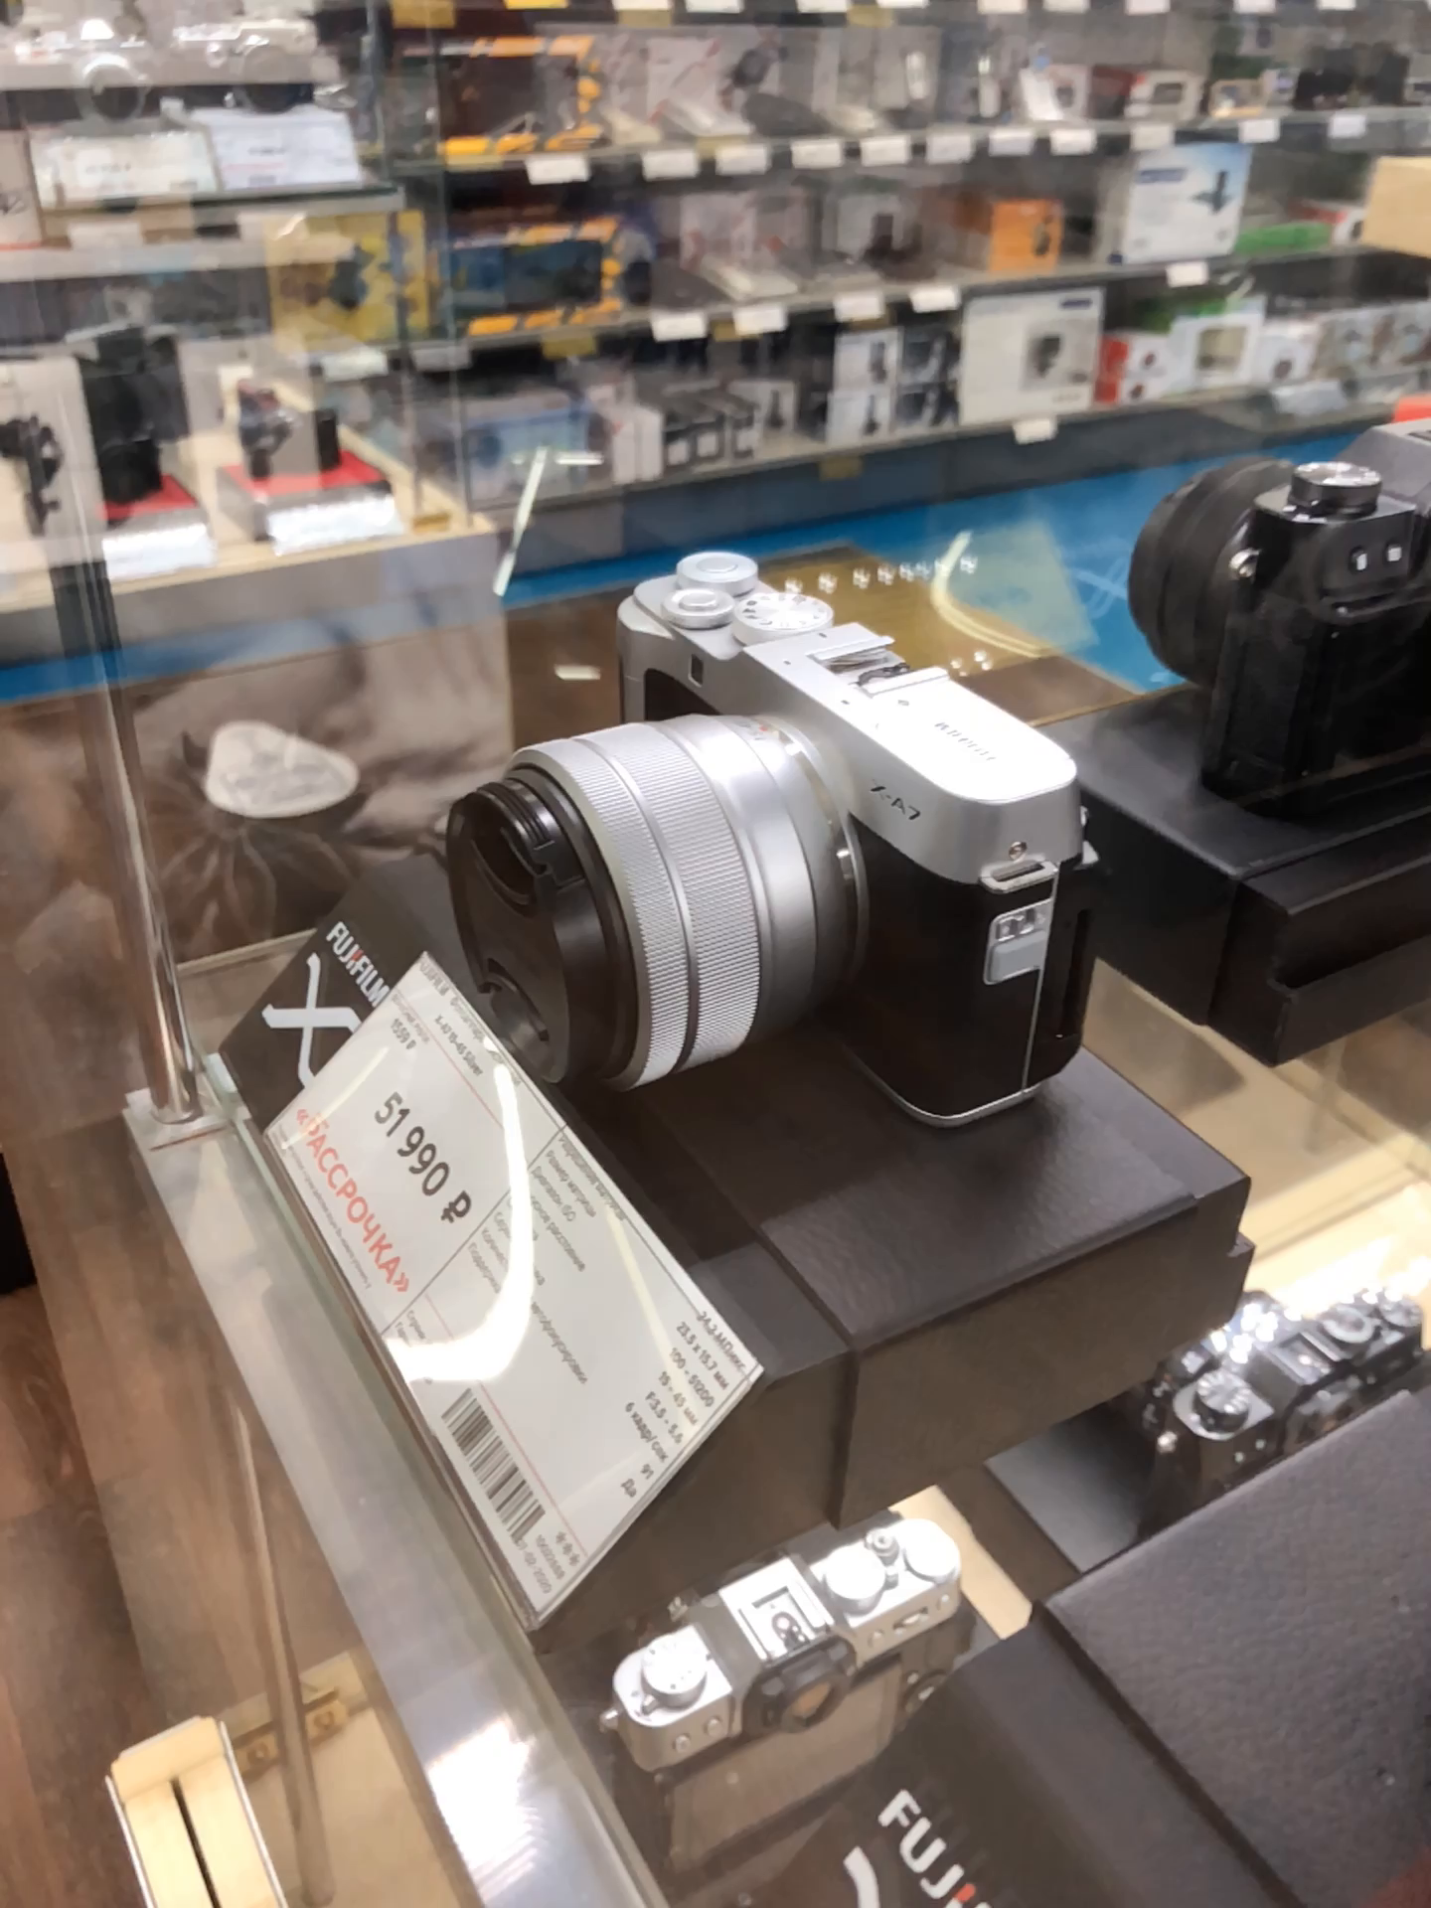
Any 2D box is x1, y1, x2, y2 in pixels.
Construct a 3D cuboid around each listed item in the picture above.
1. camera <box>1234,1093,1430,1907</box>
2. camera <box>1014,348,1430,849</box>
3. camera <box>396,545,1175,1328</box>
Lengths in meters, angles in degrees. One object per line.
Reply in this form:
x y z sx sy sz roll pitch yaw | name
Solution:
0.129 0.089 0.136 0.096 0.080 0.115 -16 37 -26 | camera
0.156 -0.096 0.401 0.115 0.080 0.097 -17 37 -27 | camera
0.004 -0.014 0.301 0.084 0.080 0.126 -15 36 -25 | camera
